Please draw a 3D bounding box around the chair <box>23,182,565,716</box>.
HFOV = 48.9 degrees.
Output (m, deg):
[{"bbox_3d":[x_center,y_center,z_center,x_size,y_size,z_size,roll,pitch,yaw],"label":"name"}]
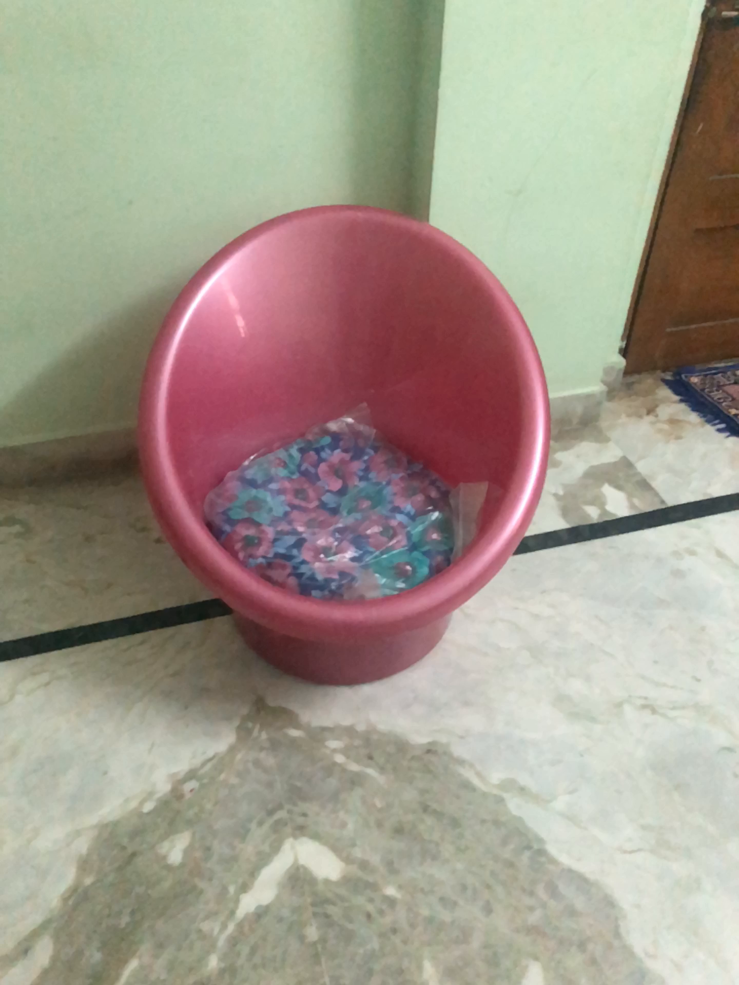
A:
[{"bbox_3d":[-0.054,-0.113,1.365,0.640,0.546,0.664,7,39,6],"label":"chair"}]
